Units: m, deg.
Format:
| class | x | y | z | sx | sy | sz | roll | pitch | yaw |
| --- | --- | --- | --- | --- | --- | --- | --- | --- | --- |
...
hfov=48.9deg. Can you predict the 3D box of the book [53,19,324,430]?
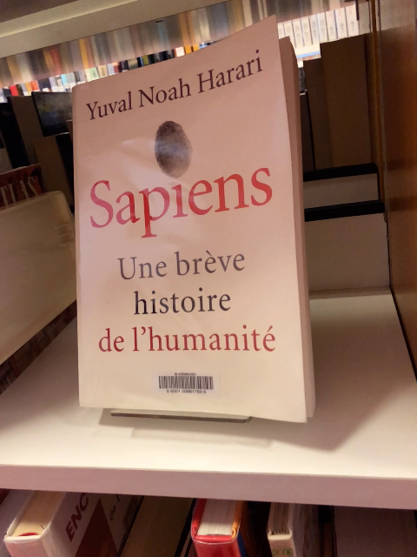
| class | x | y | z | sx | sy | sz | roll | pitch | yaw |
| --- | --- | --- | --- | --- | --- | --- | --- | --- | --- |
| book | -0.020 | -0.029 | 0.330 | 0.177 | 0.244 | 0.052 | -4 | -3 | 24 |
